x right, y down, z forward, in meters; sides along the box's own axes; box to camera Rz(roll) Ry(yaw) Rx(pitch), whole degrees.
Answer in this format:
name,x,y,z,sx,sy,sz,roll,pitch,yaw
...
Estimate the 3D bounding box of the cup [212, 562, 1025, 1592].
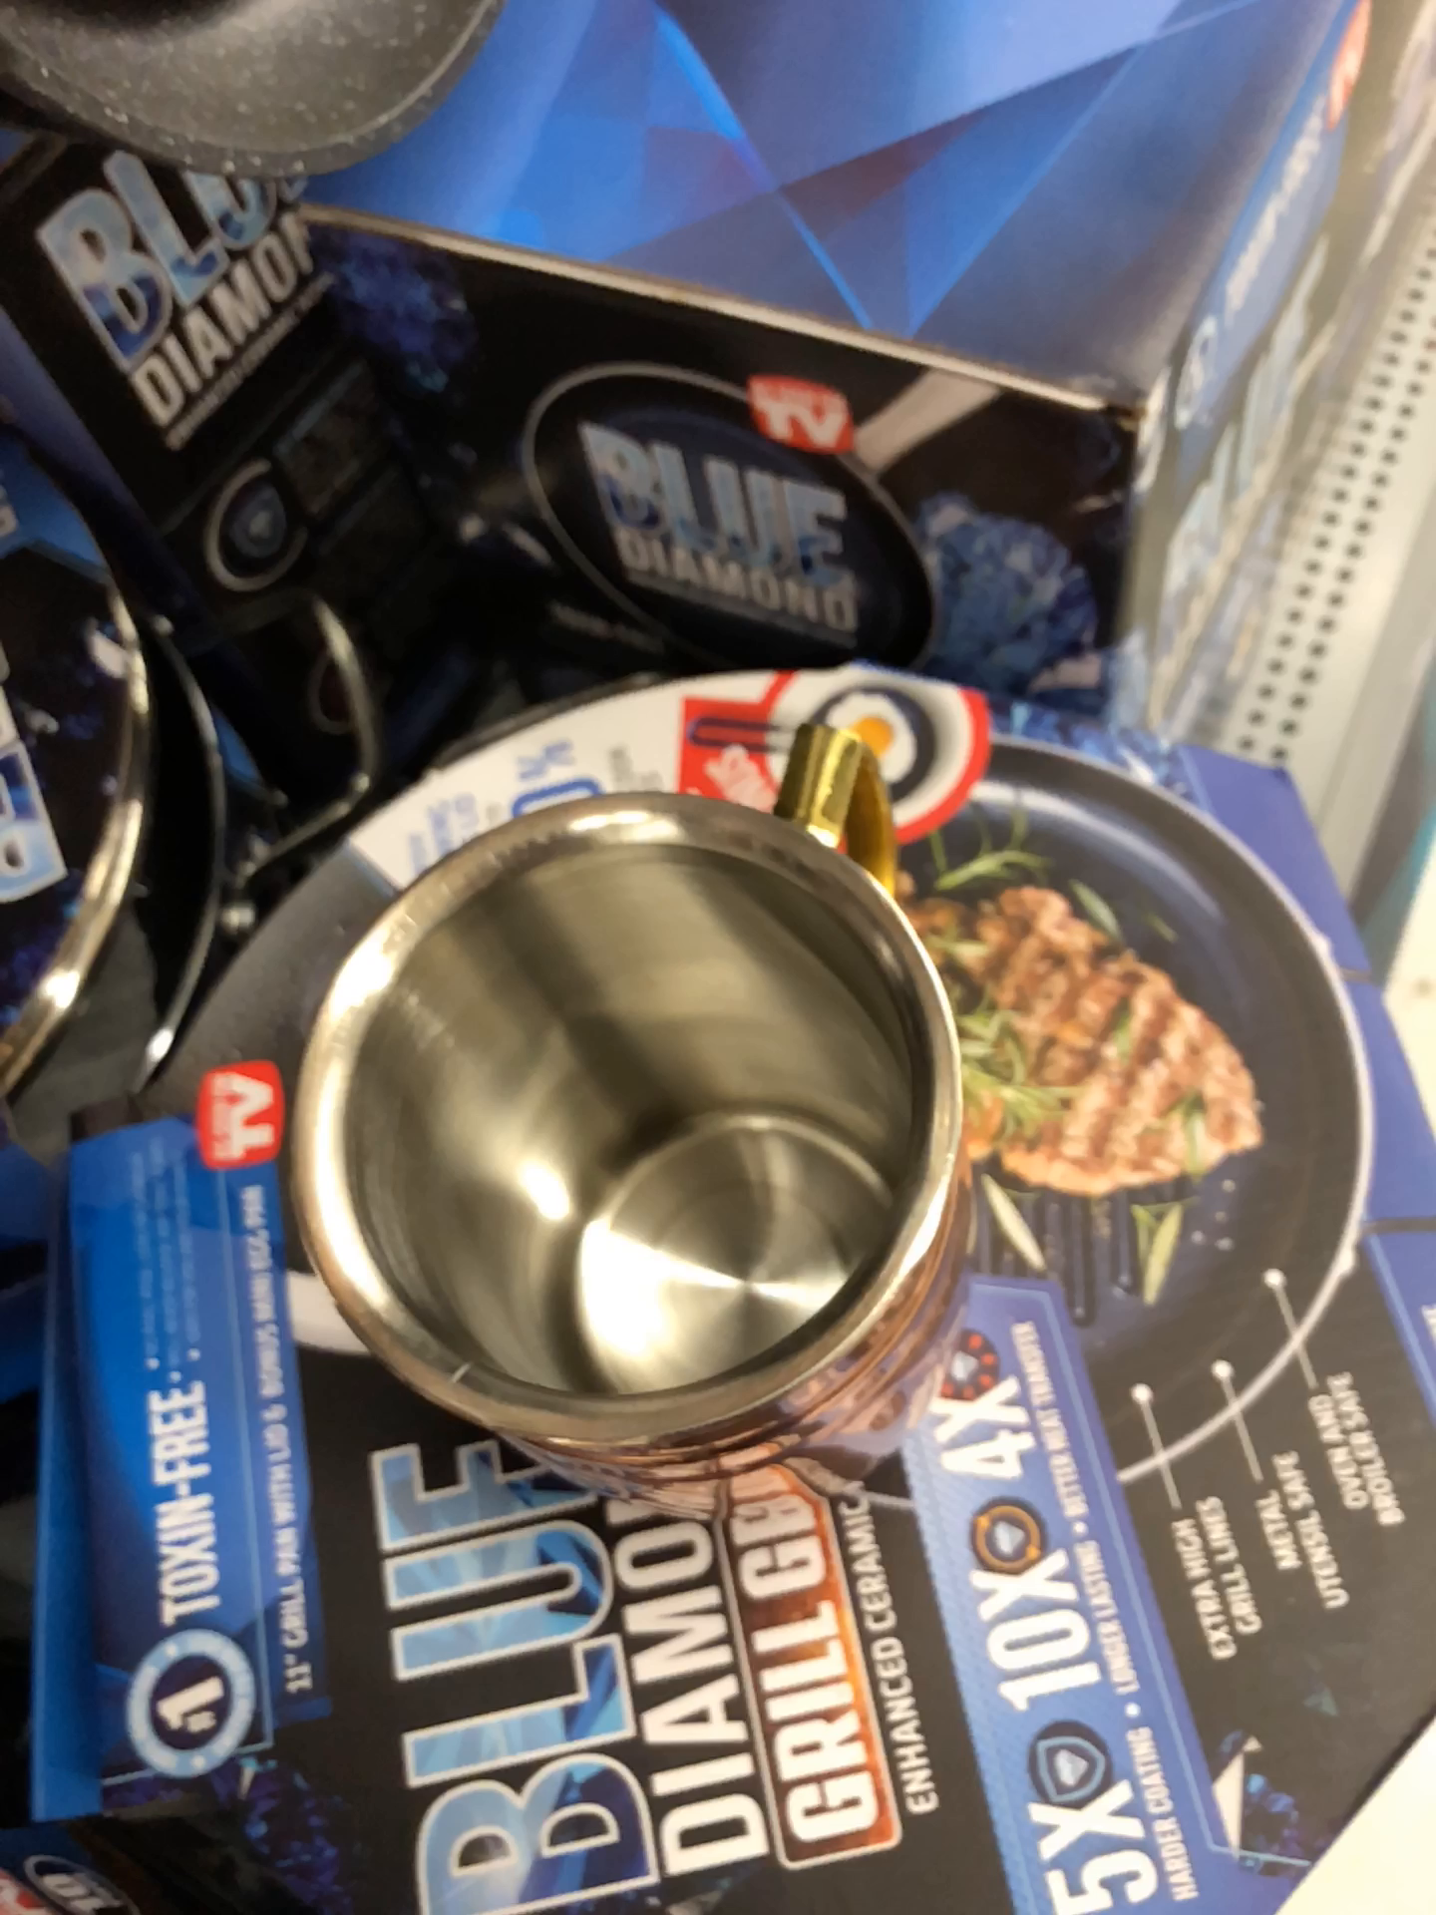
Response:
name,x,y,z,sx,sy,sz,roll,pitch,yaw
cup,-0.001,0.028,0.269,0.086,0.126,0.127,6,66,11
